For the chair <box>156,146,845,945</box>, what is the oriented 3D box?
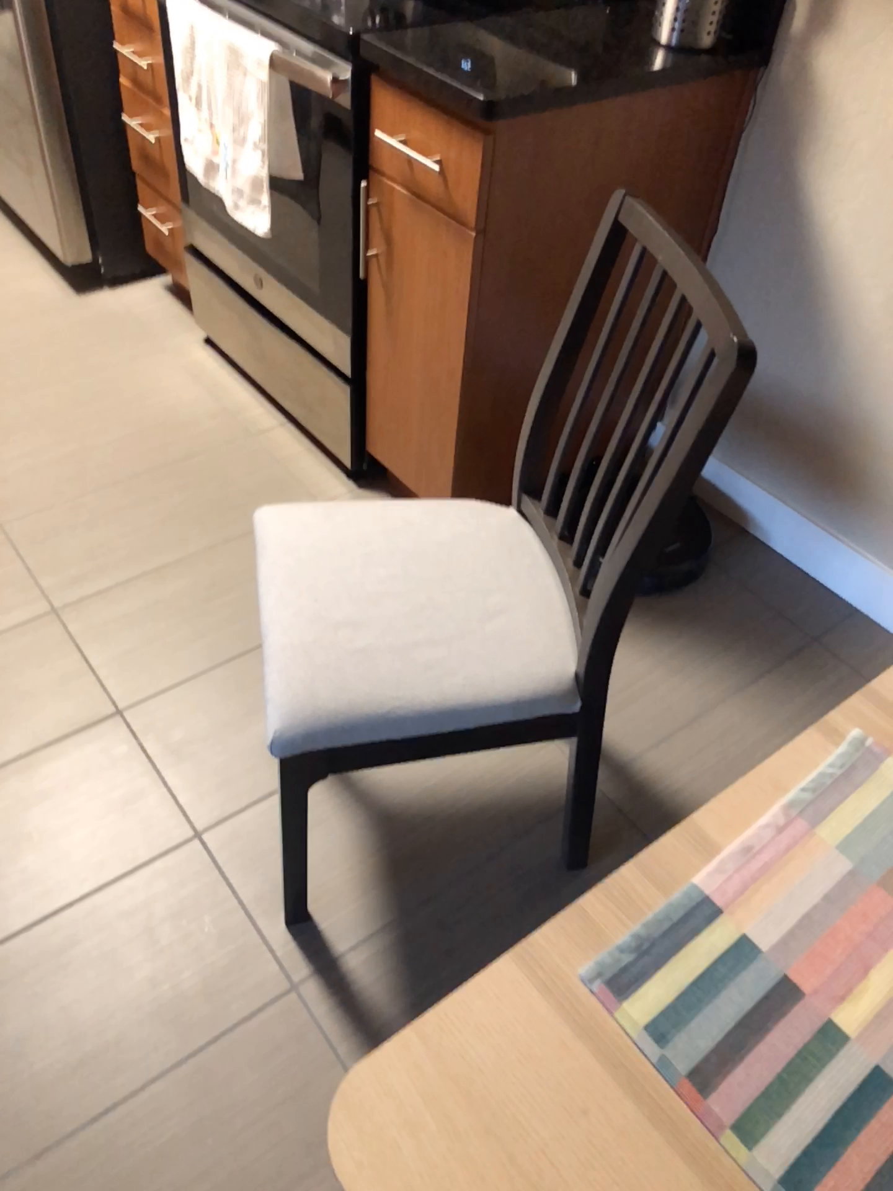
[{"bbox_3d":[-0.022,-0.049,1.311,0.590,0.846,0.583,-4,44,-11],"label":"chair"}]
